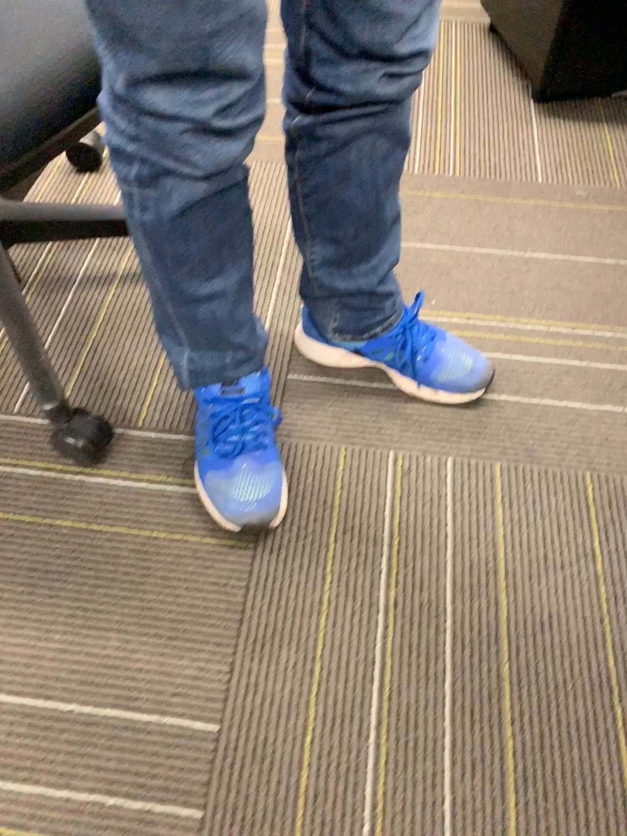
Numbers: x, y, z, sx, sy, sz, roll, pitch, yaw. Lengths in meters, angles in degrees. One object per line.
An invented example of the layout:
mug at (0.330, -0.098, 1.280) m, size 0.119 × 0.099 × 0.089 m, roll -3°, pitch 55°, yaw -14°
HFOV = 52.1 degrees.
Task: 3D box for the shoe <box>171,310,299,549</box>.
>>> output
shoe at (-0.113, -0.002, 0.858) m, size 0.119 × 0.088 × 0.340 m, roll -10°, pitch 45°, yaw -7°

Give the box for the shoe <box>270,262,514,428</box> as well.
shoe at (0.110, -0.115, 0.933) m, size 0.311 × 0.088 × 0.142 m, roll 22°, pitch 56°, yaw 26°
